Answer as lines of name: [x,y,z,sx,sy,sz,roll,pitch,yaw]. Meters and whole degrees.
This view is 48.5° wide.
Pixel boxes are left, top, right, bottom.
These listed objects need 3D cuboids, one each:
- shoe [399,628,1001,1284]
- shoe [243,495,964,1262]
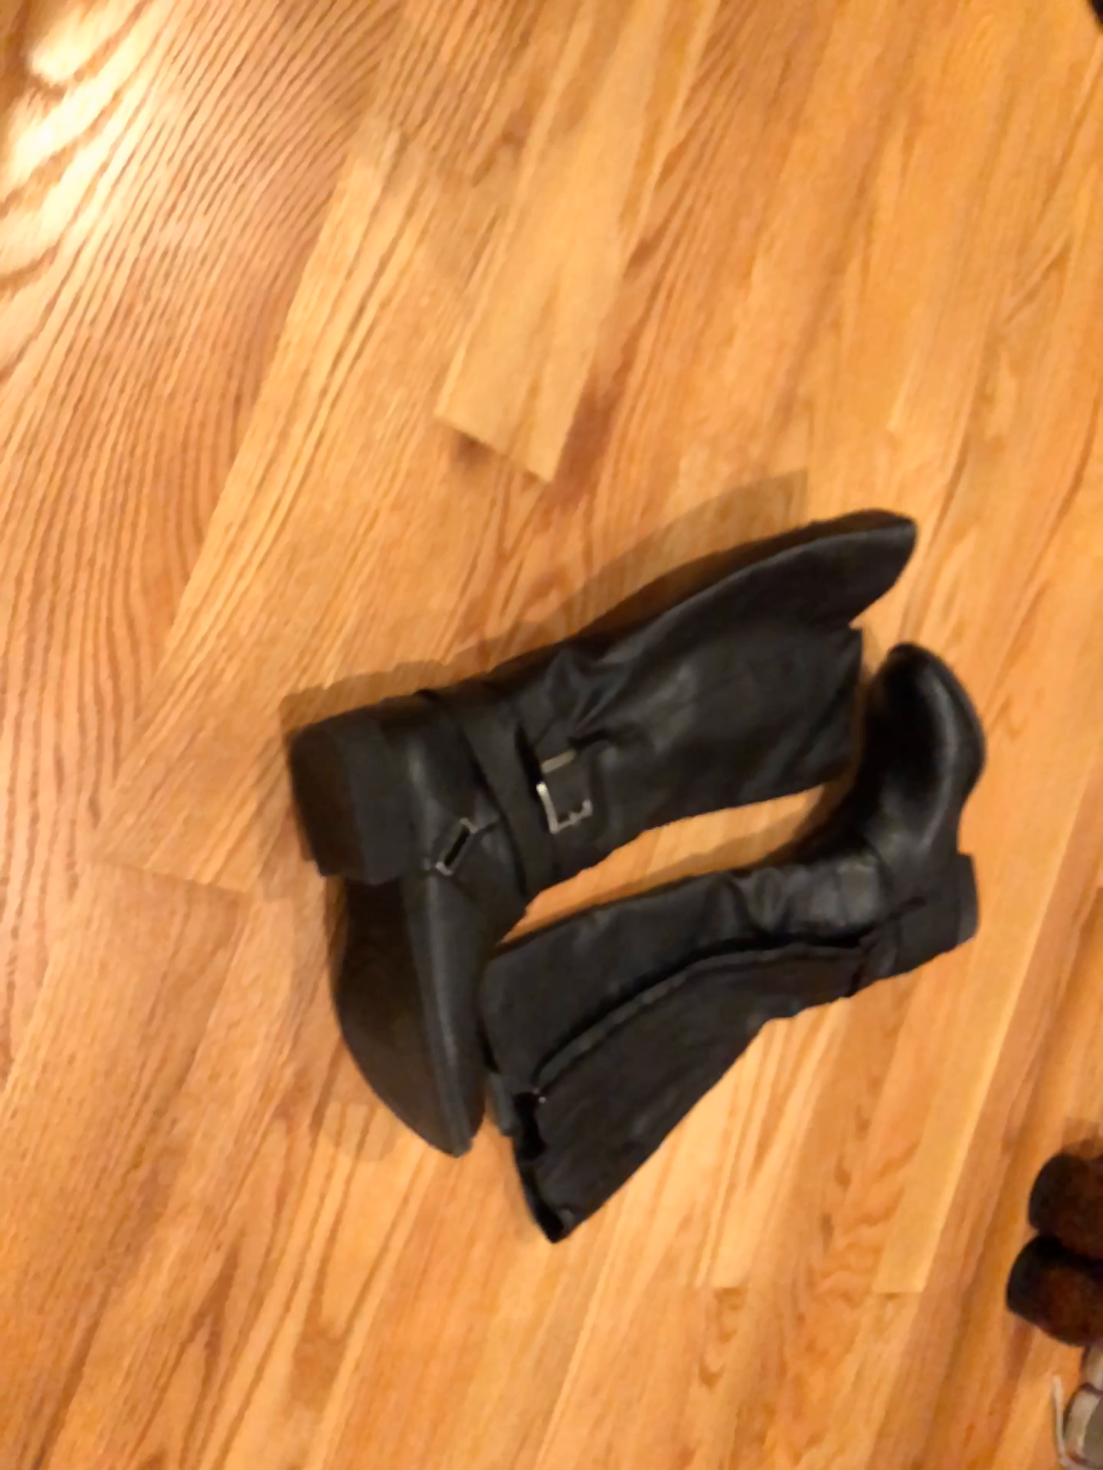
shoe: [0.115,0.102,0.735,0.395,0.094,0.250,-18,111,-36]
shoe: [0.064,0.045,0.679,0.405,0.104,0.290,-19,111,-34]
